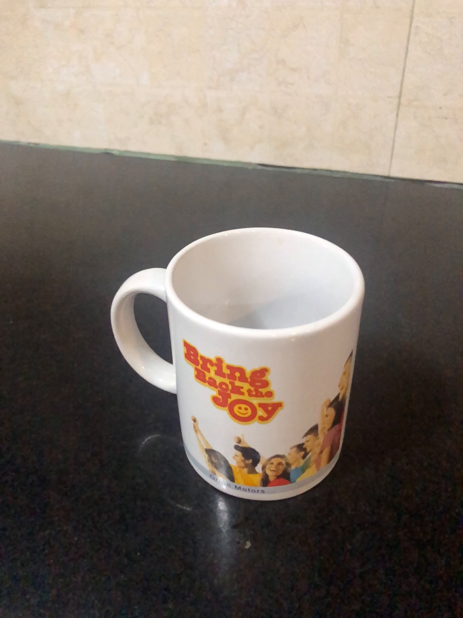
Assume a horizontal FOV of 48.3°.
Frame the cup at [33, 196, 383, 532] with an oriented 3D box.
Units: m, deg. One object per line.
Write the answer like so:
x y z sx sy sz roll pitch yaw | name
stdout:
-0.005 0.018 0.239 0.120 0.099 0.081 13 38 21 | cup
